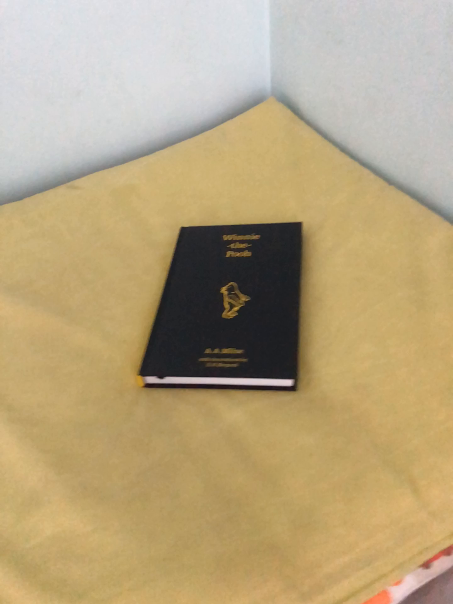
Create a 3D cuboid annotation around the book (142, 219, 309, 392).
[{"bbox_3d":[0.010,-0.007,0.523,0.150,0.020,0.221,0,47,10],"label":"book"}]
